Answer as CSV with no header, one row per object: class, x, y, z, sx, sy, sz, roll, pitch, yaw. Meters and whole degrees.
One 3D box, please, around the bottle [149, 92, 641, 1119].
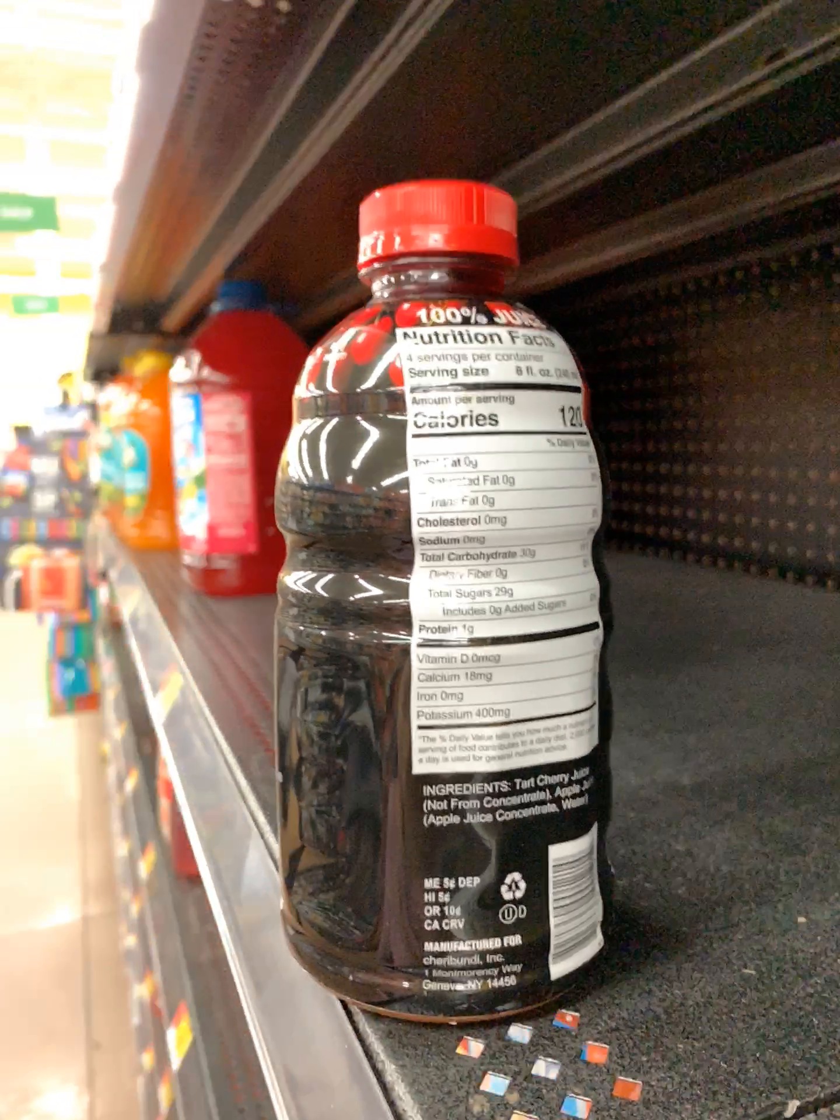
bottle,0.004,0.009,0.235,0.090,0.205,0.095,-2,8,0
